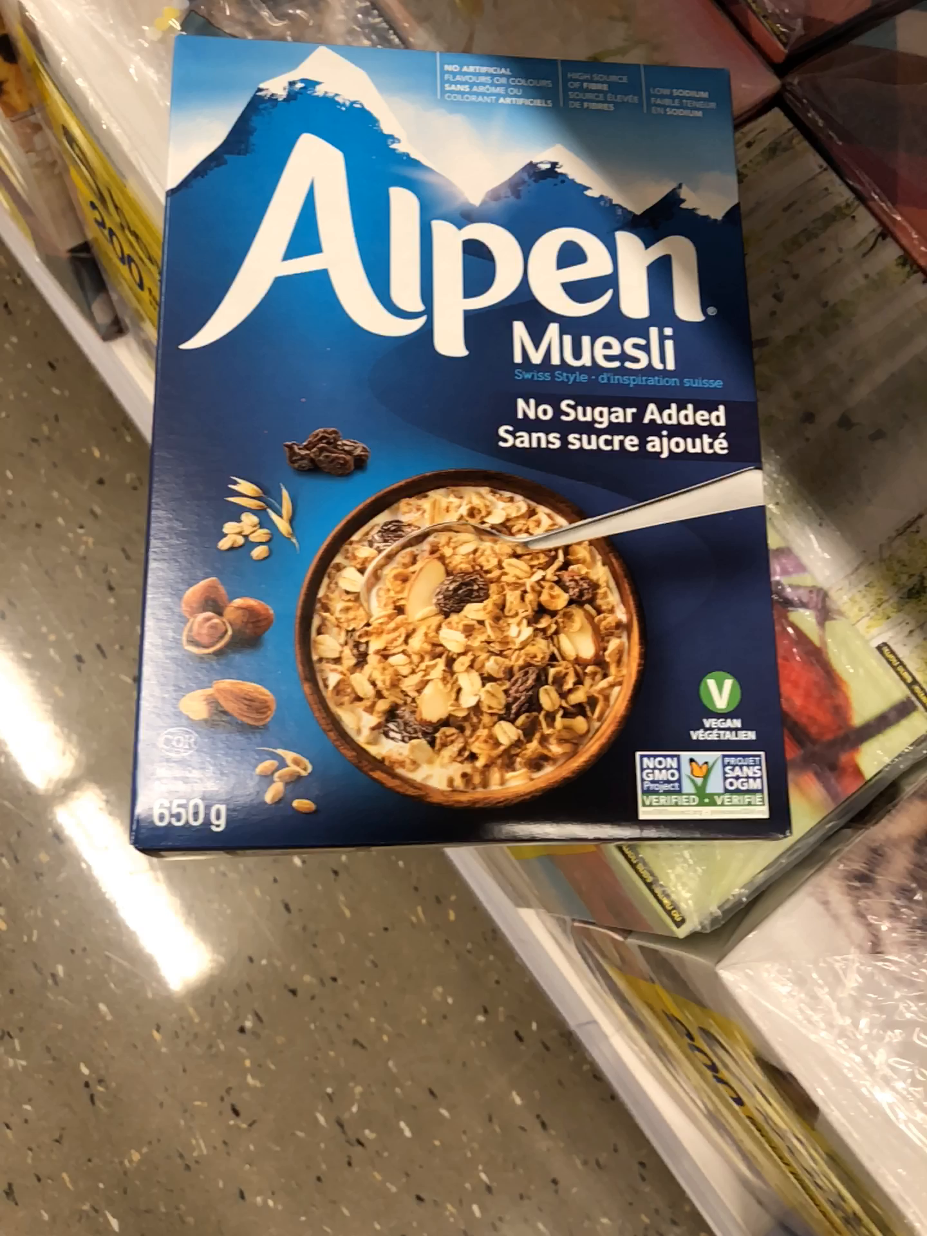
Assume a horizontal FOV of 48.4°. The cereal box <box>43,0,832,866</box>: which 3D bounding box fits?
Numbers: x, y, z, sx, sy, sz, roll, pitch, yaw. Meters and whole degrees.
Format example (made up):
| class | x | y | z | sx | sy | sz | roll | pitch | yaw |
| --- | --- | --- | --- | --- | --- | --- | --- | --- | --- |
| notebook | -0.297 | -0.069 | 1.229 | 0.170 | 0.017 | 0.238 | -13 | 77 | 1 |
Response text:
| class | x | y | z | sx | sy | sz | roll | pitch | yaw |
| --- | --- | --- | --- | --- | --- | --- | --- | --- | --- |
| cereal box | -0.008 | -0.056 | 0.312 | 0.200 | 0.050 | 0.250 | 0 | 78 | -6 |
